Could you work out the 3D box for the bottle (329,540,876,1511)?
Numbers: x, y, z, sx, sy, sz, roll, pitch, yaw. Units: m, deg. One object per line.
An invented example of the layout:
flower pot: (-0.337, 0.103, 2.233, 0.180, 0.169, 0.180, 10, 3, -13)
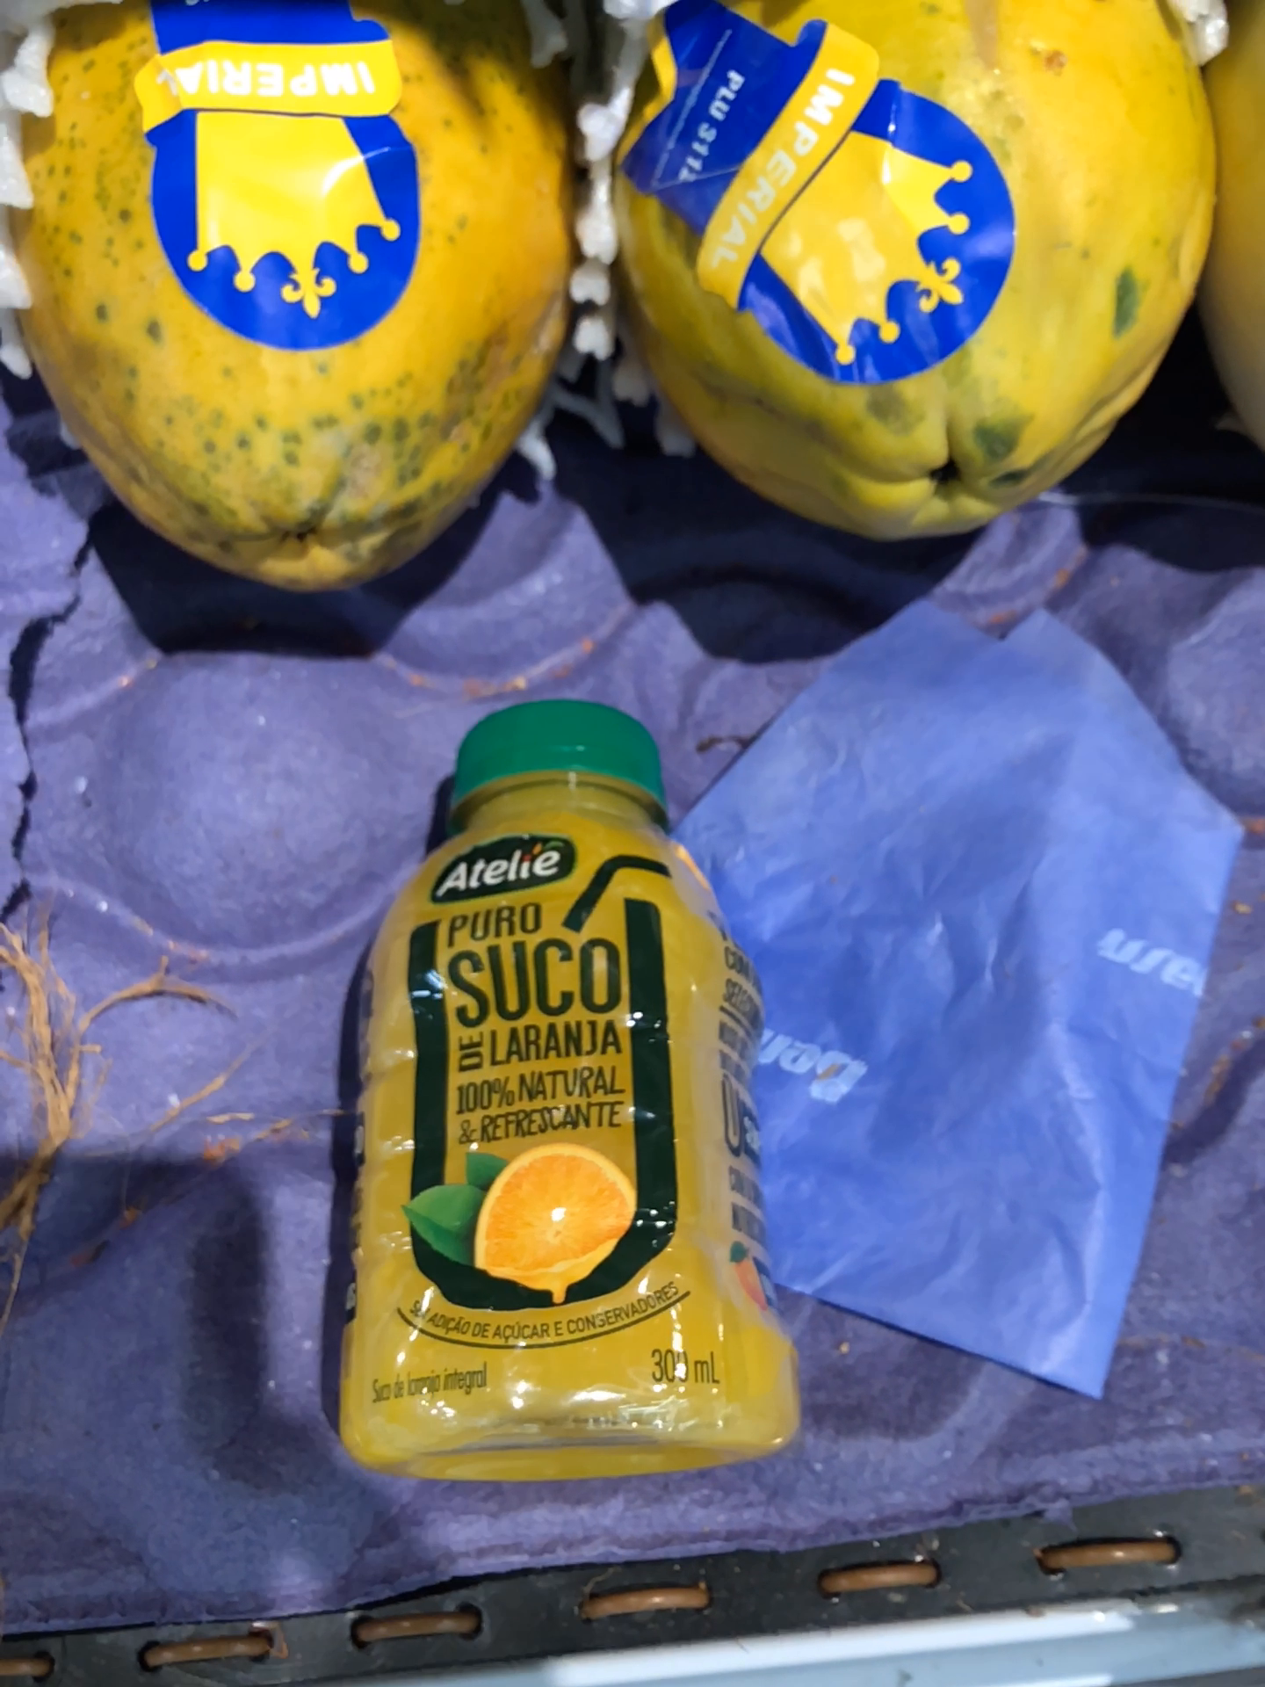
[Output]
bottle: (-0.007, 0.029, 0.236, 0.070, 0.060, 0.140, -4, 68, 2)
